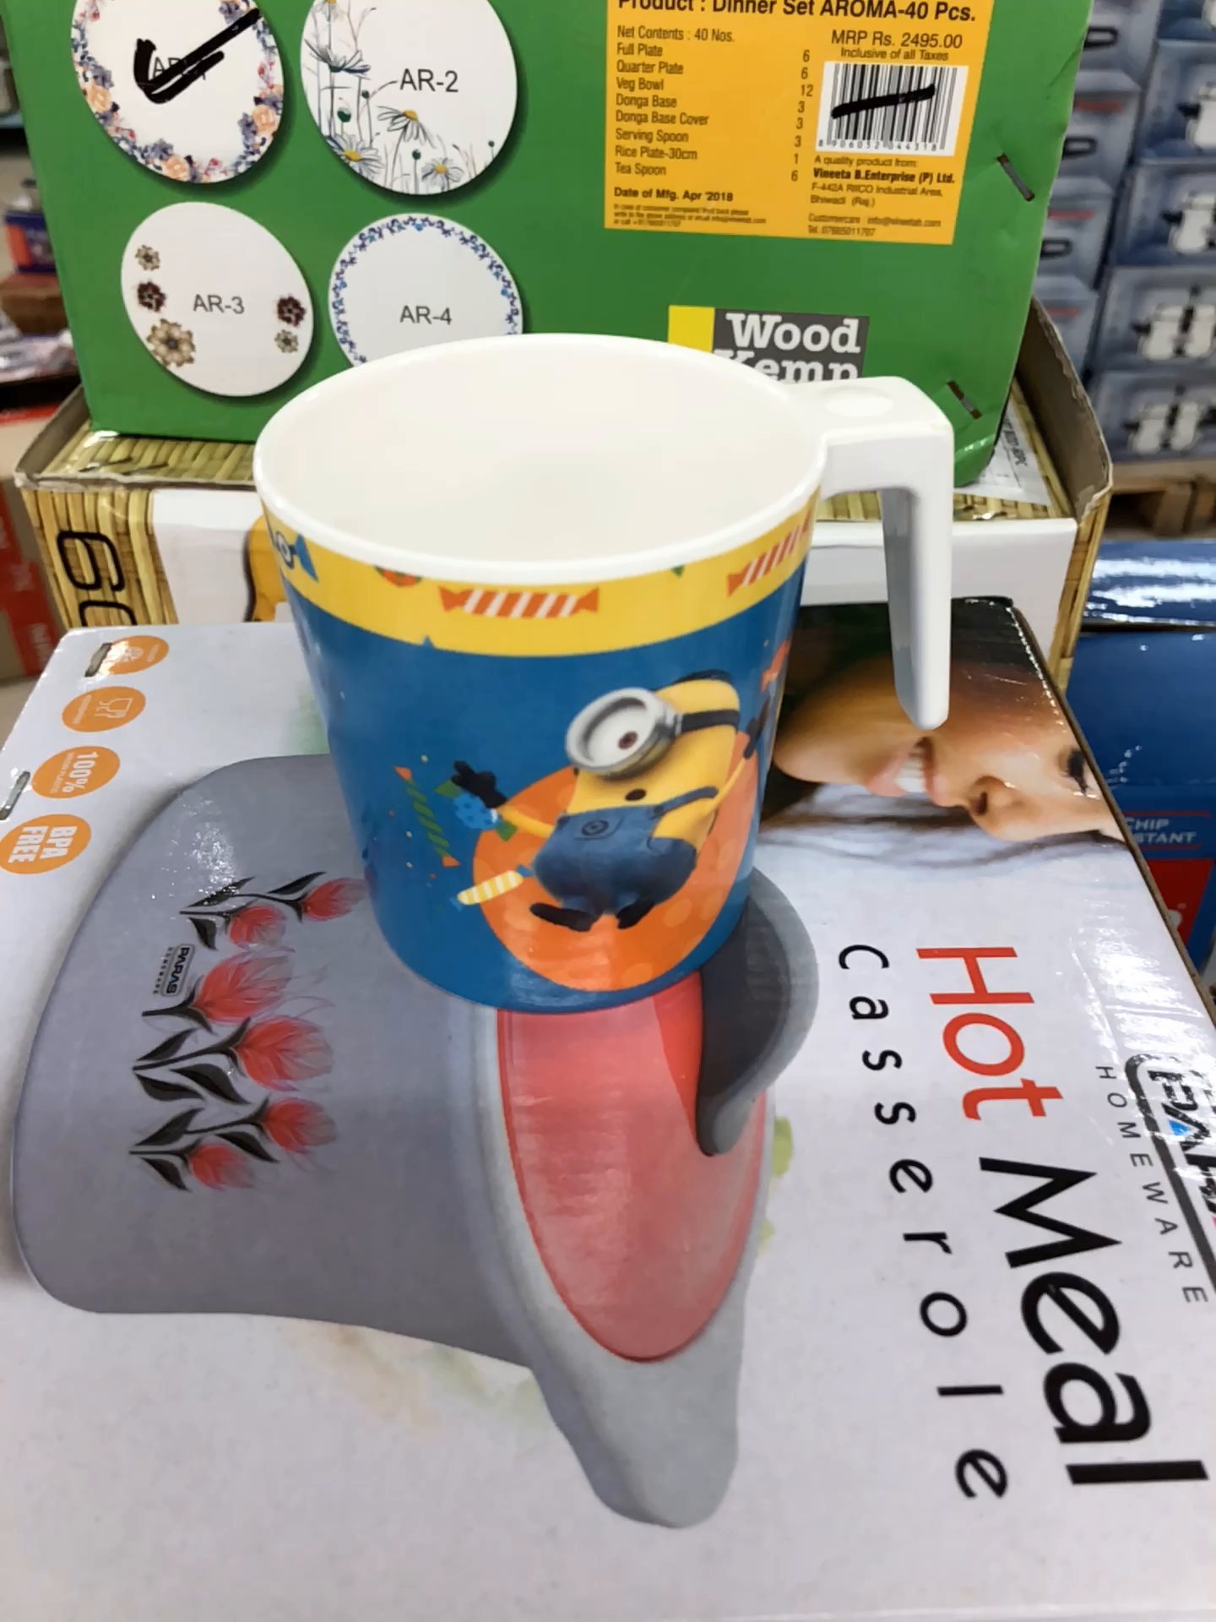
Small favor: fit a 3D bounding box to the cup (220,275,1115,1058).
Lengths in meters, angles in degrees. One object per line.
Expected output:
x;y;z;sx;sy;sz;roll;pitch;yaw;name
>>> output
0.003;-0.029;0.221;0.110;0.079;0.080;-12;40;-13;cup
